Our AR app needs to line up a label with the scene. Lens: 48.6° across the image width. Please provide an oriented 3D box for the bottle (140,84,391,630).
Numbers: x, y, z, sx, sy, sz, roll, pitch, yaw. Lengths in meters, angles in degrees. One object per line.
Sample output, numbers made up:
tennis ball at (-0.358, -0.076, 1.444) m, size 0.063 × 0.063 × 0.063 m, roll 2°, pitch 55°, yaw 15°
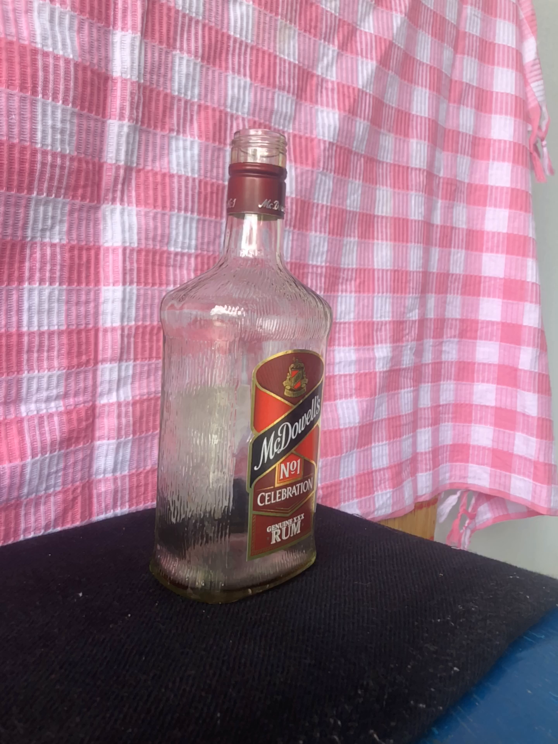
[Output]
bottle at (-0.005, -0.007, 0.326) m, size 0.060 × 0.240 × 0.100 m, roll 10°, pitch 8°, yaw 36°
